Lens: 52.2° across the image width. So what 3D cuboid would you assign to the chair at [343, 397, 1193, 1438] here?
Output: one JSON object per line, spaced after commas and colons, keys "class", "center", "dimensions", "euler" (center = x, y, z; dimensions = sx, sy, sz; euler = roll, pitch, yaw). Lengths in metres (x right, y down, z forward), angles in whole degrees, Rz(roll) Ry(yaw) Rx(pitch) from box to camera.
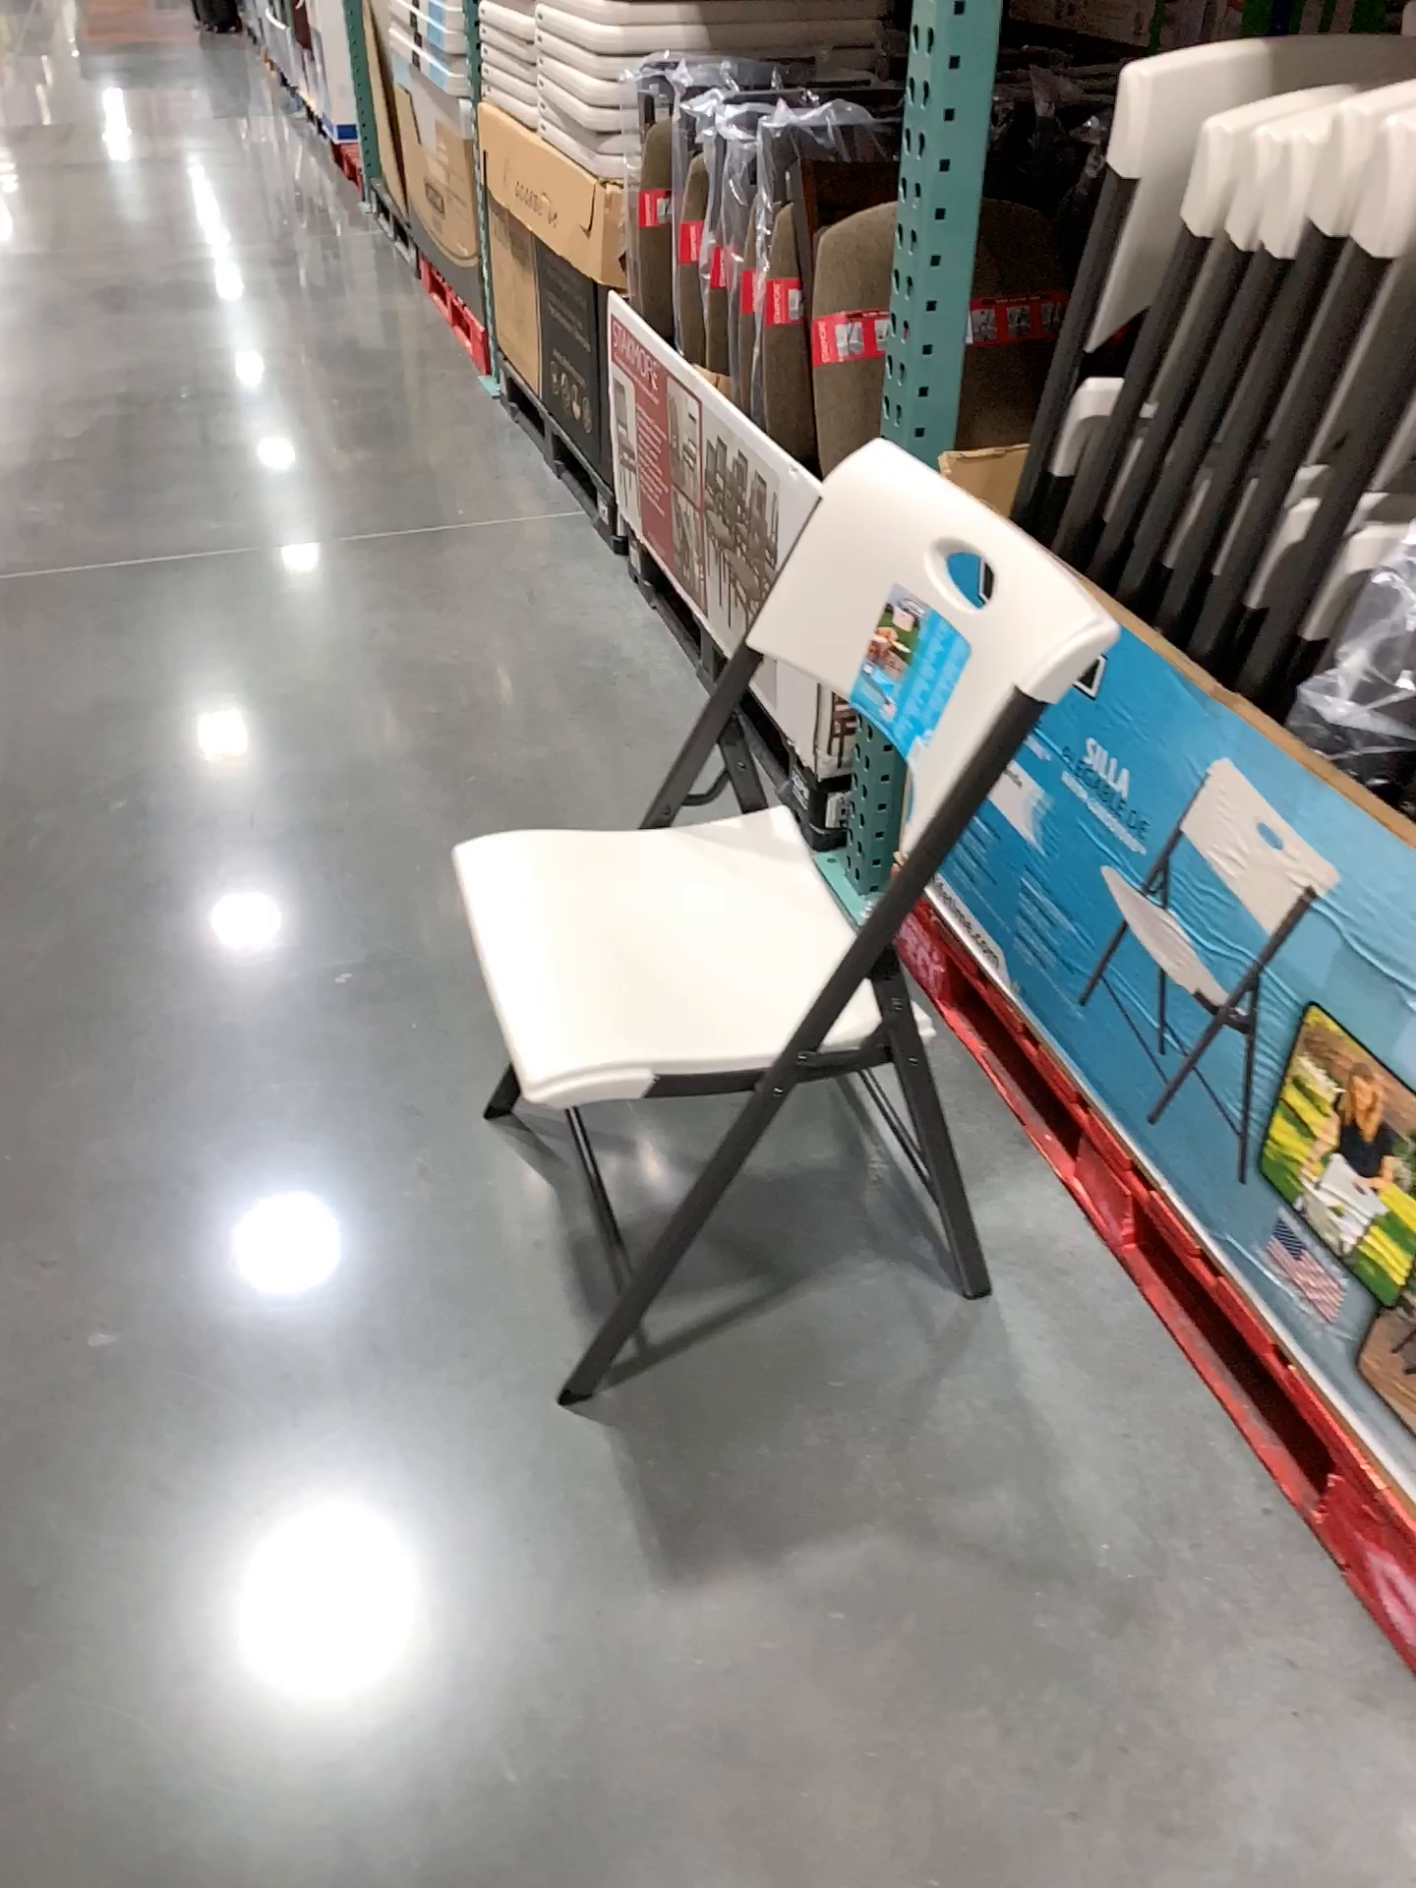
{"class": "chair", "center": [0.007, -0.044, 1.493], "dimensions": [0.574, 0.805, 0.568], "euler": [-11, 39, -15]}
